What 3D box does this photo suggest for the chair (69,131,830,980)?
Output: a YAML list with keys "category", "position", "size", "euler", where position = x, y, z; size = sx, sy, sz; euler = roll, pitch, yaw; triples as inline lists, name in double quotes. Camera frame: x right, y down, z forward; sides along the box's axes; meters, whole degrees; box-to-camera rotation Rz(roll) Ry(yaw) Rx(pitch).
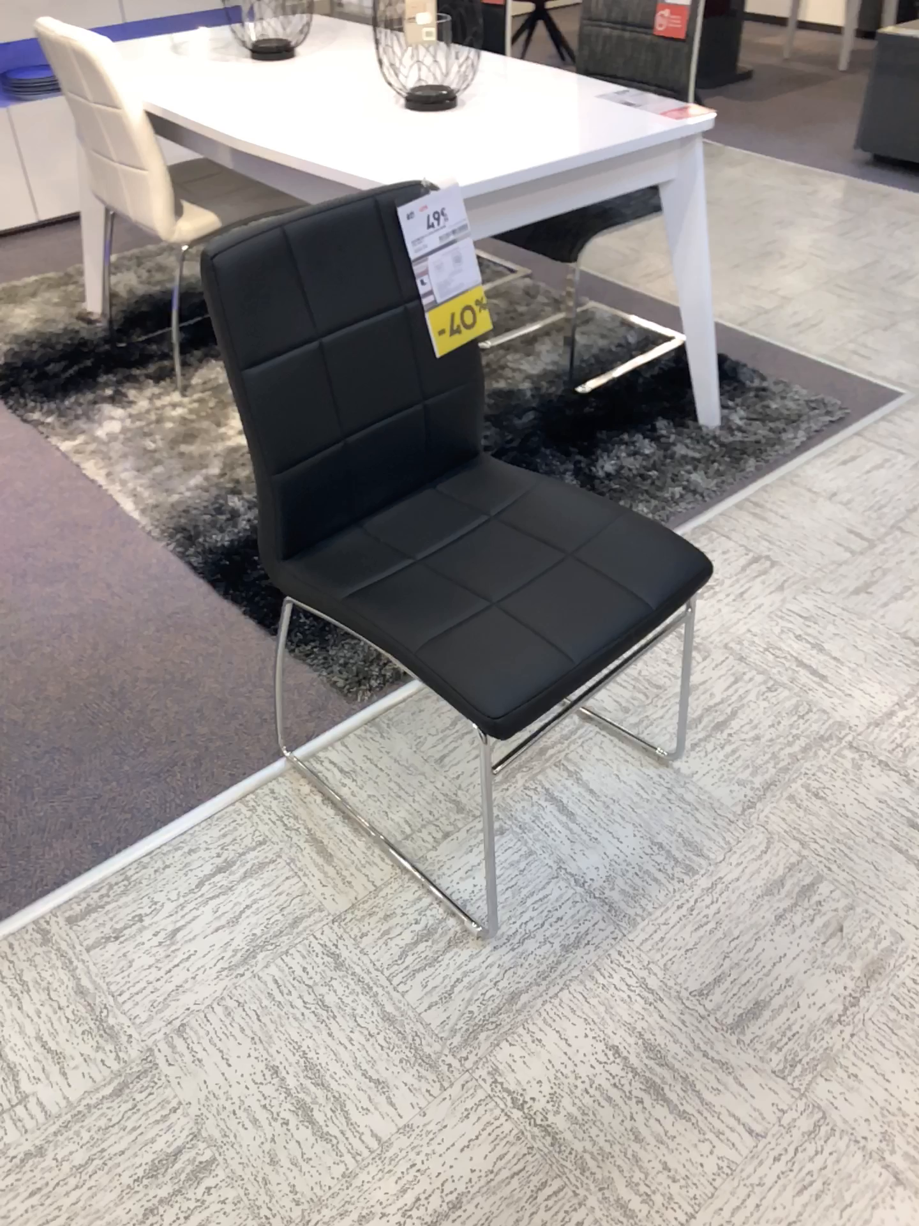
- category: "chair"
  position: [-0.014, -0.109, 1.353]
  size: [0.553, 0.795, 0.631]
  euler: [-32, 49, -33]
